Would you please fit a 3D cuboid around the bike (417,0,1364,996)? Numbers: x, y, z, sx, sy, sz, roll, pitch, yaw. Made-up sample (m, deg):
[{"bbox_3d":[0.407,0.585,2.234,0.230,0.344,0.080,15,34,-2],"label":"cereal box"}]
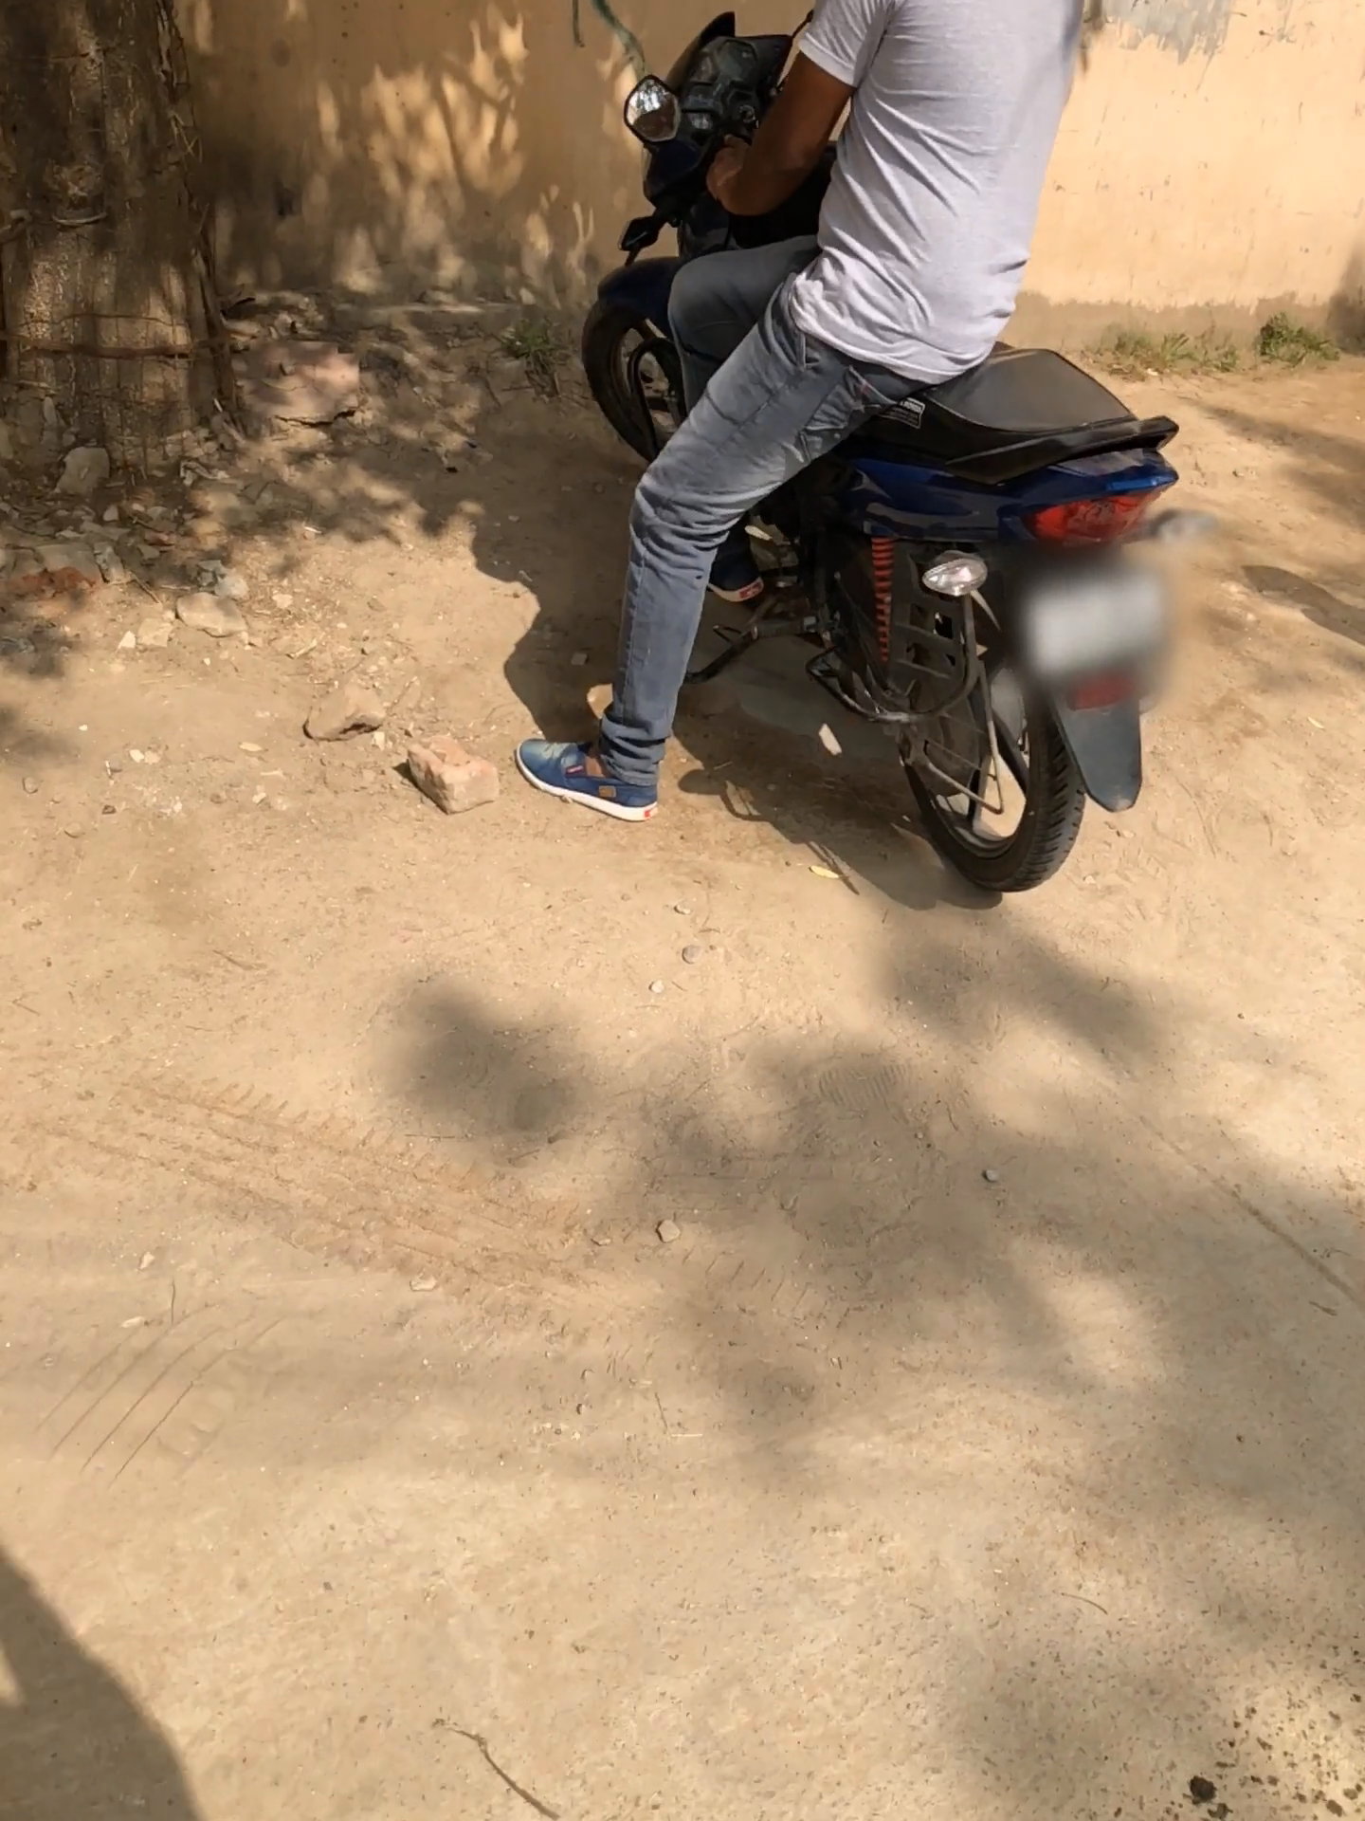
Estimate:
[{"bbox_3d":[0.135,-0.968,2.600,0.741,1.241,1.791,-9,39,-21],"label":"bike"}]
